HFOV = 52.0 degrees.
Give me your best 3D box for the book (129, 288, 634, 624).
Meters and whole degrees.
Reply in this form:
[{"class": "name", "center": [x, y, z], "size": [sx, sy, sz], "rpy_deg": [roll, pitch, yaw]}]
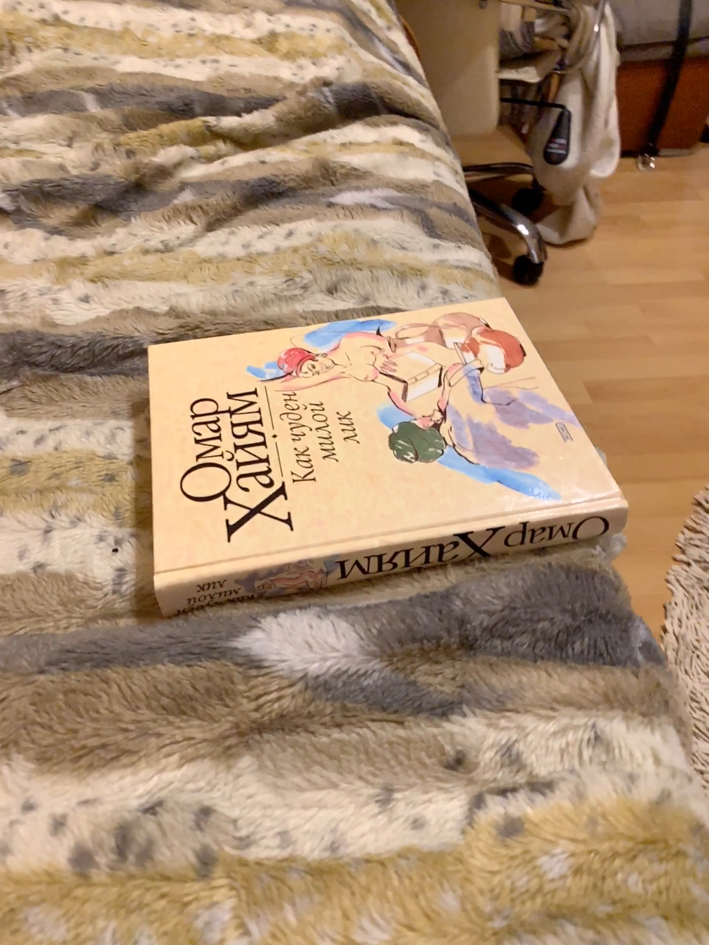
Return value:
[{"class": "book", "center": [0.000, -0.023, 0.375], "size": [0.220, 0.030, 0.171], "rpy_deg": [-8, 49, -9]}]
